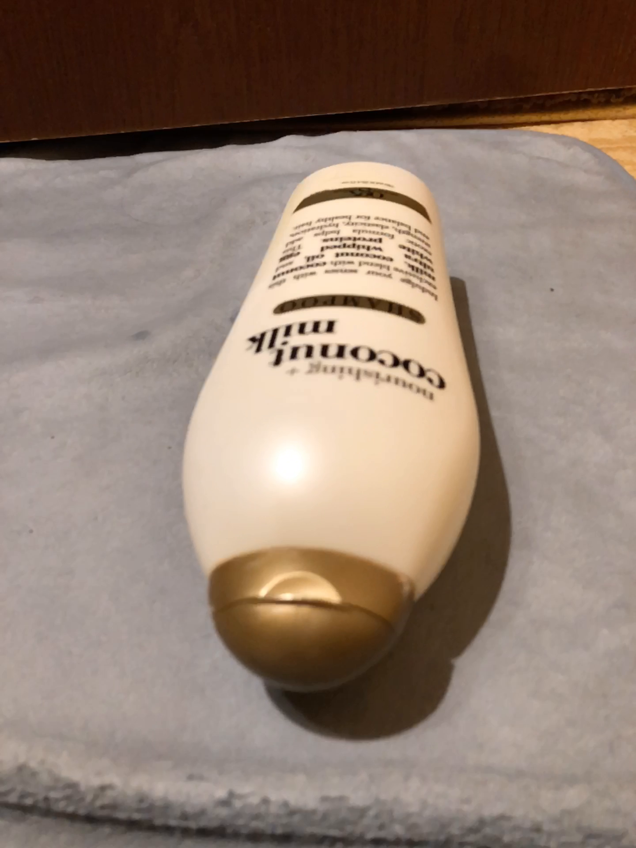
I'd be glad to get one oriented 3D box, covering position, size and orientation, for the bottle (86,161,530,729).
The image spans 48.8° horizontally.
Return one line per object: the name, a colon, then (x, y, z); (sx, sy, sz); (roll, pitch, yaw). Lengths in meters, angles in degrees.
bottle: (0.011, -0.024, 0.222); (0.080, 0.040, 0.221); (3, 40, 7)
